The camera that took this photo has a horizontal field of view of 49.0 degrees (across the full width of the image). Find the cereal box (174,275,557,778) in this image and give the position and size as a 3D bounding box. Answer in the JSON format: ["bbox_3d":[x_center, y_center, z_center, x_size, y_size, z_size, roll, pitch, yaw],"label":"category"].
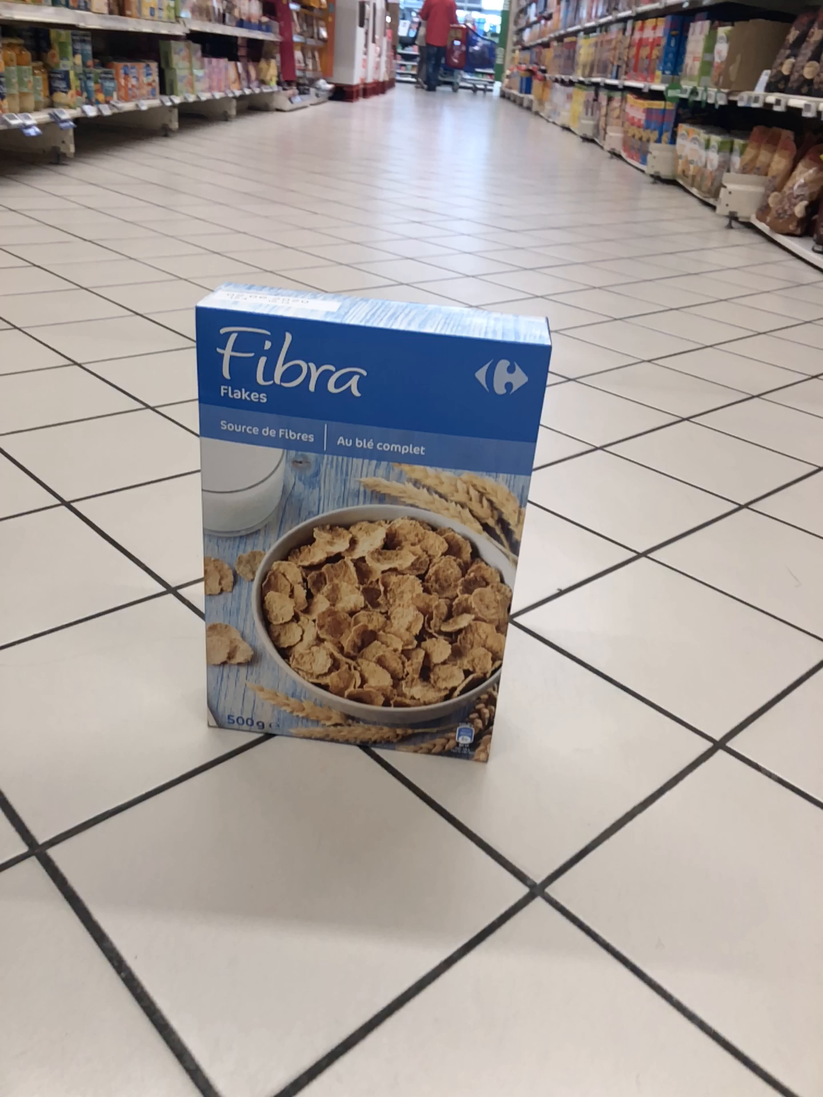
[{"bbox_3d":[-0.033,-0.005,0.563,0.200,0.288,0.070,7,27,3],"label":"cereal box"}]
